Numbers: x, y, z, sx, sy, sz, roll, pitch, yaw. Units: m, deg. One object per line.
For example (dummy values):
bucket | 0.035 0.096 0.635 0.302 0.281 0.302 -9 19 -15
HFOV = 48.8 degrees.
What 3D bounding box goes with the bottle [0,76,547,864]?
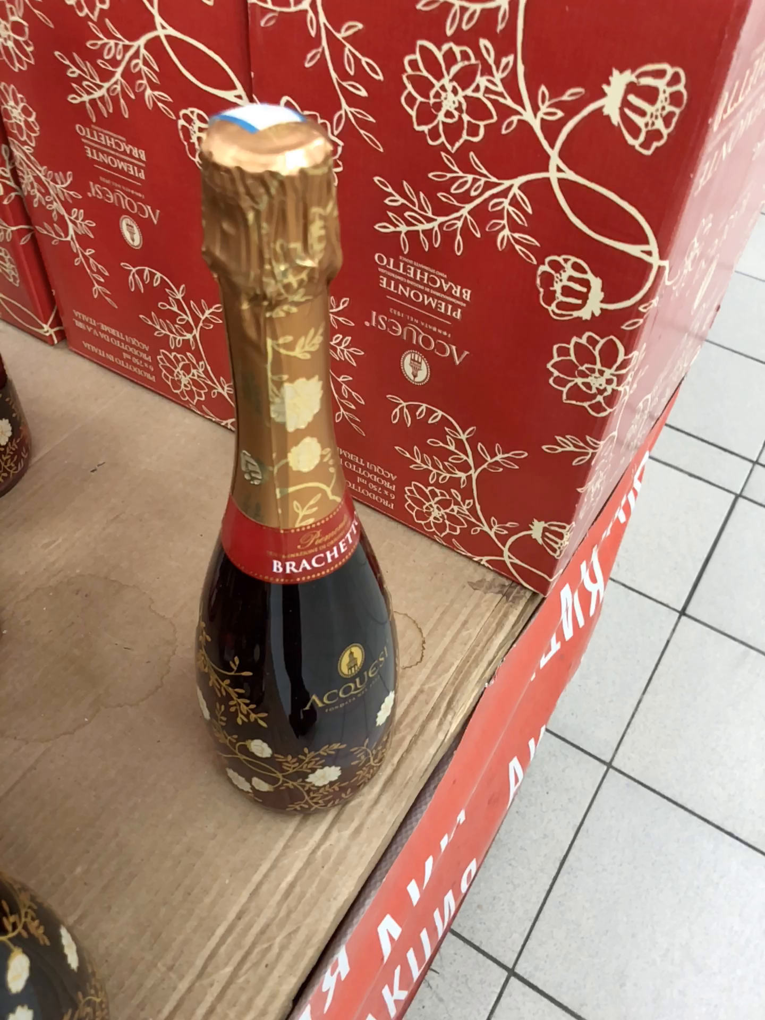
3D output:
bottle | -0.036 0.012 0.315 0.100 0.279 0.100 2 49 -2
